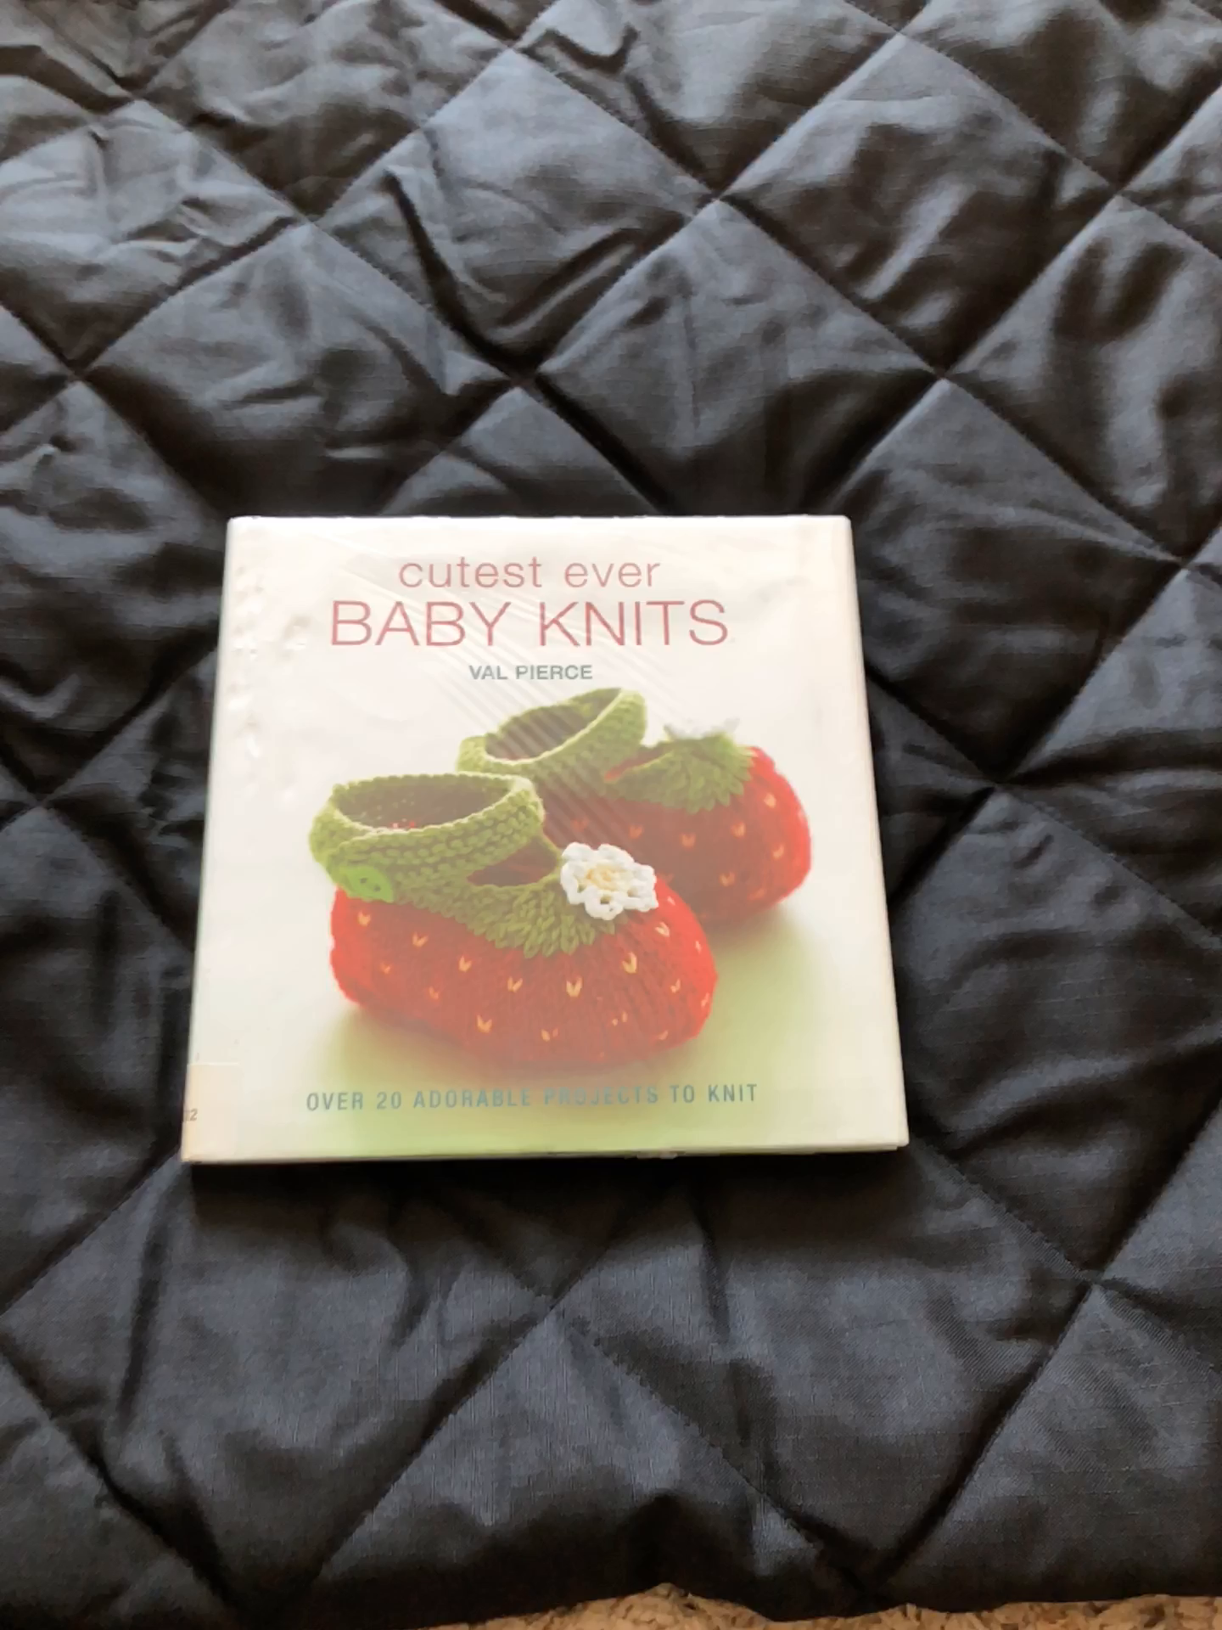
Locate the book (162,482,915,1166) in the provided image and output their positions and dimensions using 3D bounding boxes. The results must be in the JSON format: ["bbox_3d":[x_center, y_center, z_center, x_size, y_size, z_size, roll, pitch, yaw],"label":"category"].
[{"bbox_3d":[-0.021,-0.004,0.396,0.197,0.020,0.200,-1,71,-4],"label":"book"}]
